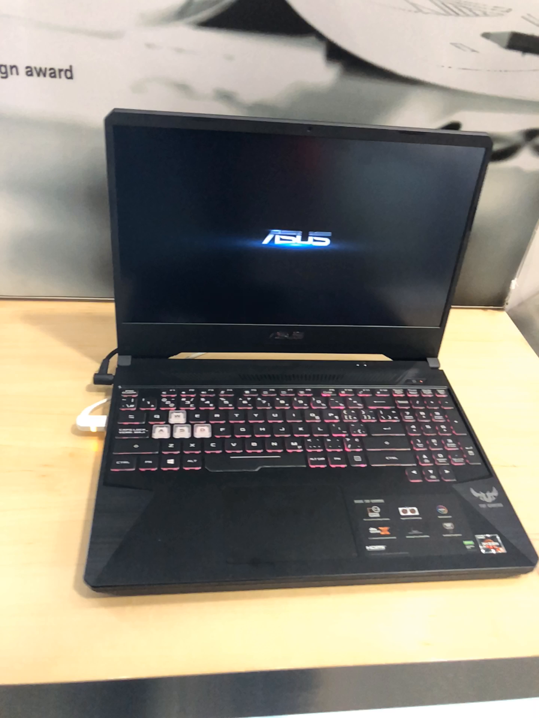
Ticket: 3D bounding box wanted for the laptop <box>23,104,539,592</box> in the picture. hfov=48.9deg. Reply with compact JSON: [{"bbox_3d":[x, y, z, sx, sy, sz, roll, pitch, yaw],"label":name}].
[{"bbox_3d":[0.035,-0.027,0.496,0.359,0.245,0.310,0,39,-9],"label":"laptop"}]
